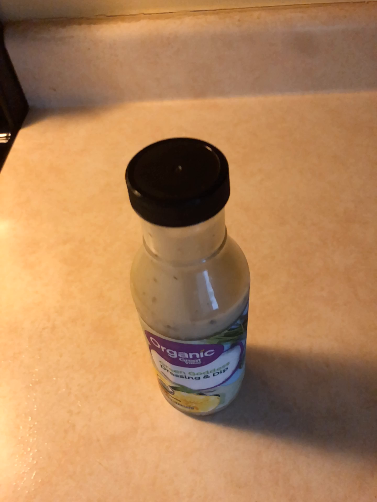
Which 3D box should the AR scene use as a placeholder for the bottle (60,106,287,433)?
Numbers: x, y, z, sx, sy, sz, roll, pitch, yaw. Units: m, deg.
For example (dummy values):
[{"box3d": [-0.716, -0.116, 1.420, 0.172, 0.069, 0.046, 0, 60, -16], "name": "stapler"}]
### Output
[{"box3d": [0.004, 0.027, 0.233, 0.070, 0.190, 0.070, -2, 50, 3], "name": "bottle"}]
